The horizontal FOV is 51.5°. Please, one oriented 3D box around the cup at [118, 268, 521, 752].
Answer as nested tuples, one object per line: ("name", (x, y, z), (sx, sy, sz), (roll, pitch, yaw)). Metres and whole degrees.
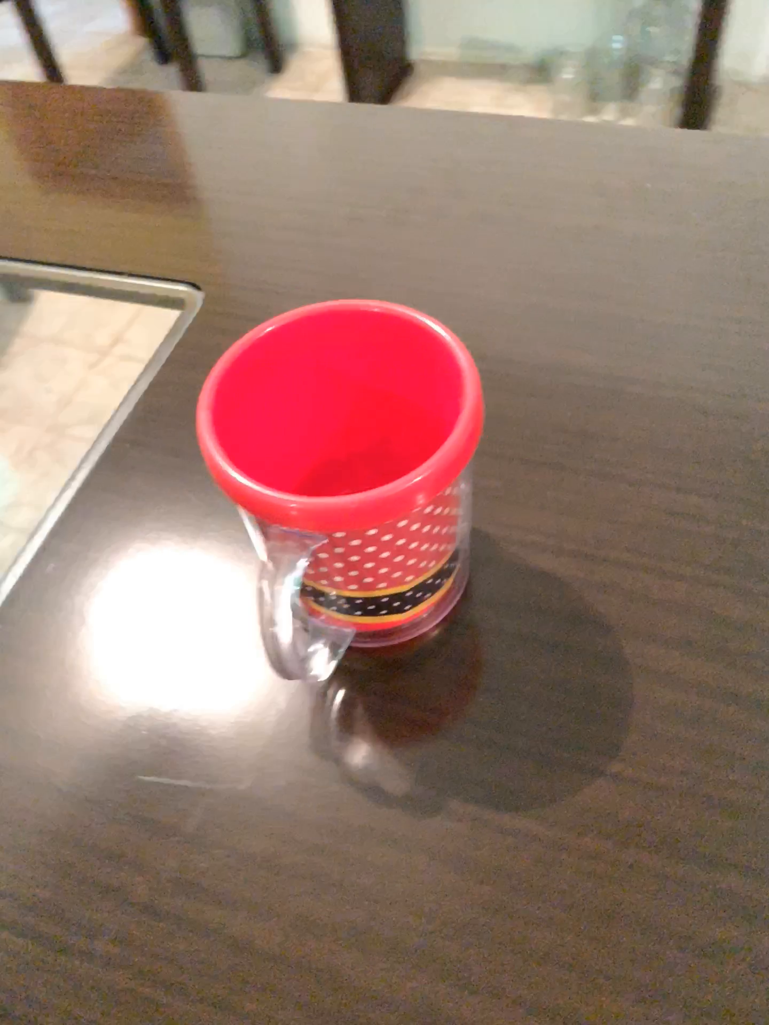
("cup", (-0.009, -0.001, 0.288), (0.090, 0.110, 0.120), (10, 56, 15))
